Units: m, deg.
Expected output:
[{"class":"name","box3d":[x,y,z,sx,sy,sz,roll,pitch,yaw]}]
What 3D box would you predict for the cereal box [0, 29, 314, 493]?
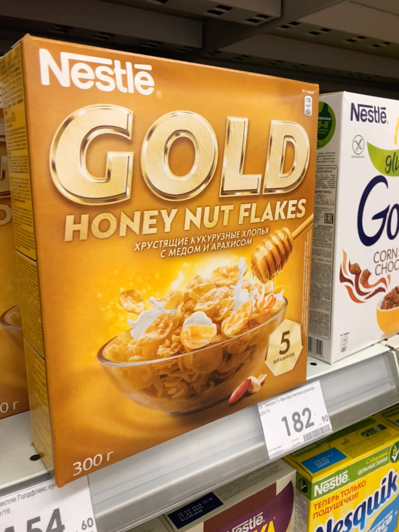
[{"class":"cereal box","box3d":[-0.014,-0.008,0.281,0.190,0.219,0.050,-9,14,-35]}]
